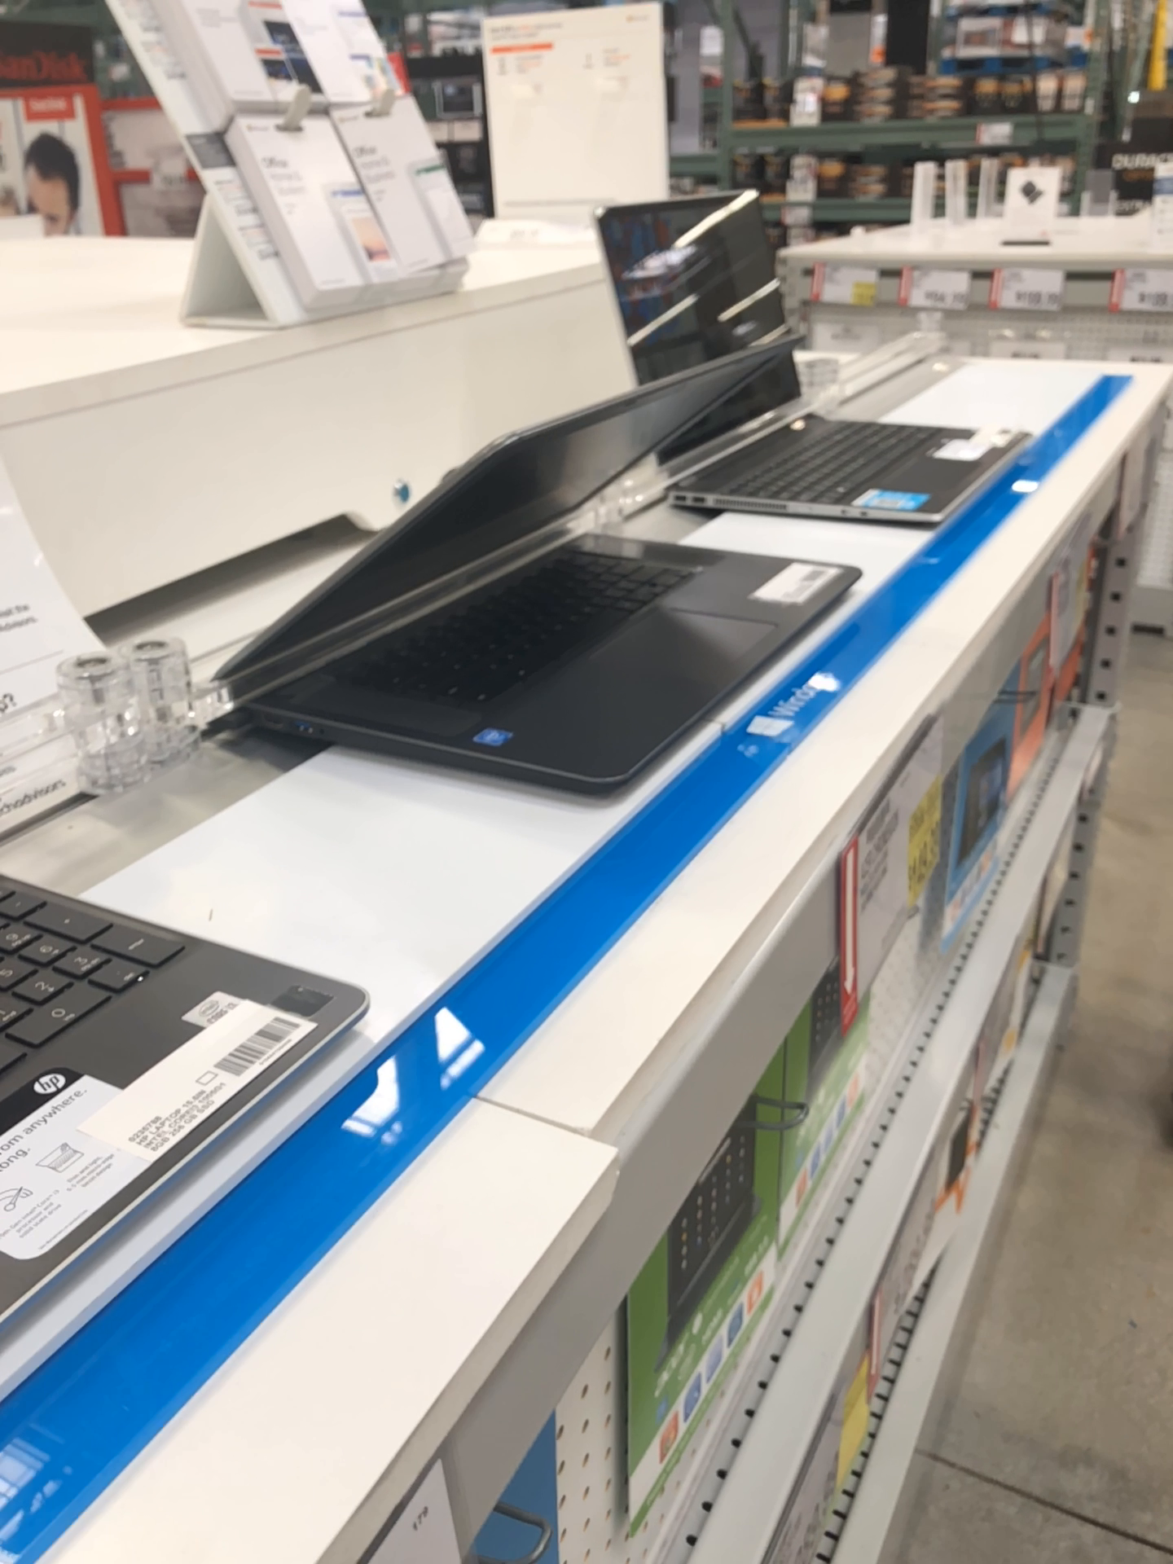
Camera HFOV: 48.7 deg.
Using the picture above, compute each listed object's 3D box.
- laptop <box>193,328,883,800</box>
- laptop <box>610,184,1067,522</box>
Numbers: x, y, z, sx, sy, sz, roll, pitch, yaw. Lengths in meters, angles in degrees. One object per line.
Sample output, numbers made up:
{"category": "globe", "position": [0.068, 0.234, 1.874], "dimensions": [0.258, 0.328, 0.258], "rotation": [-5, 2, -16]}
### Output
{"category": "laptop", "position": [0.002, -0.152, 0.728], "dimensions": [0.219, 0.136, 0.366], "rotation": [14, 30, 25]}
{"category": "laptop", "position": [0.222, -0.395, 1.136], "dimensions": [0.291, 0.208, 0.318], "rotation": [14, 32, 29]}
